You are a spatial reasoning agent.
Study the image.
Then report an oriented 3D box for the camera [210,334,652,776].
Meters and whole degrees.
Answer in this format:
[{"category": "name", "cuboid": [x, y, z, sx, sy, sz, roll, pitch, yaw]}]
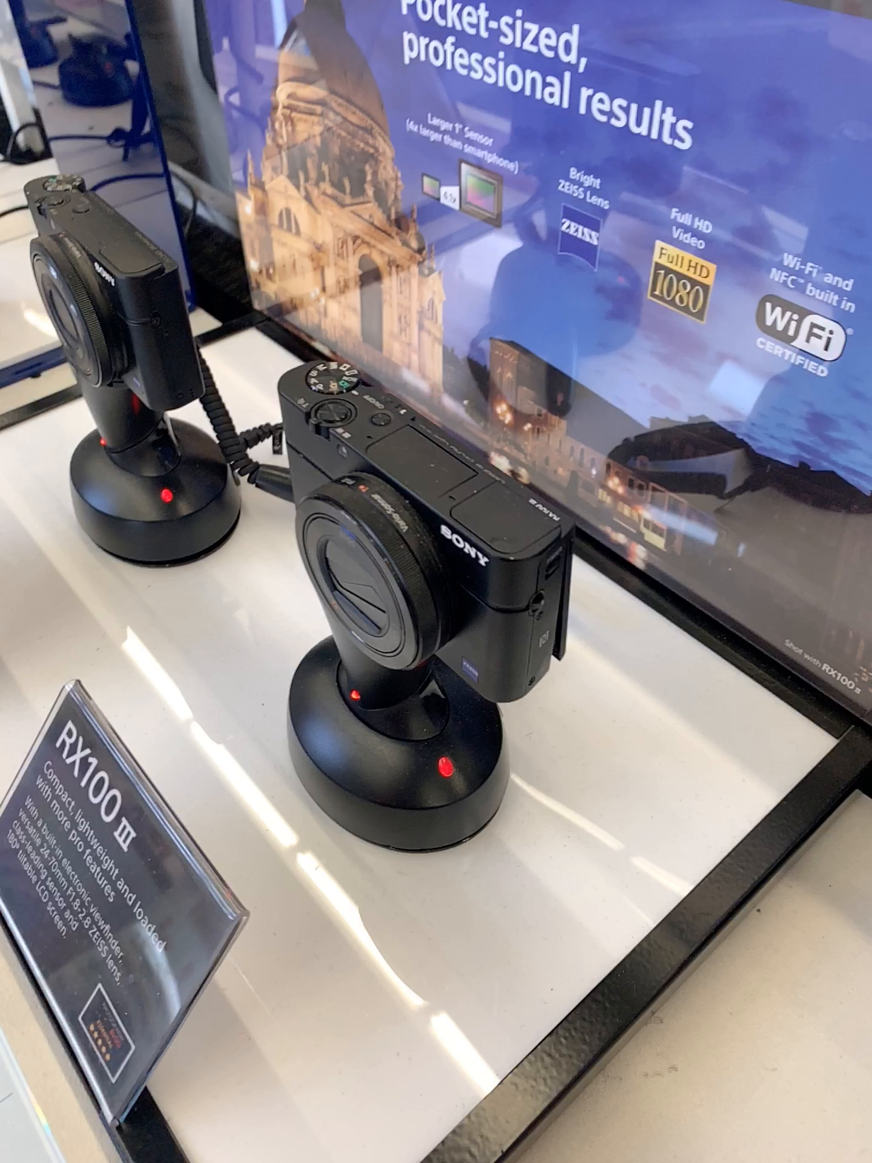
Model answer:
[{"category": "camera", "cuboid": [-0.005, -0.012, 0.248, 0.050, 0.059, 0.111, -34, 53, -28]}]
